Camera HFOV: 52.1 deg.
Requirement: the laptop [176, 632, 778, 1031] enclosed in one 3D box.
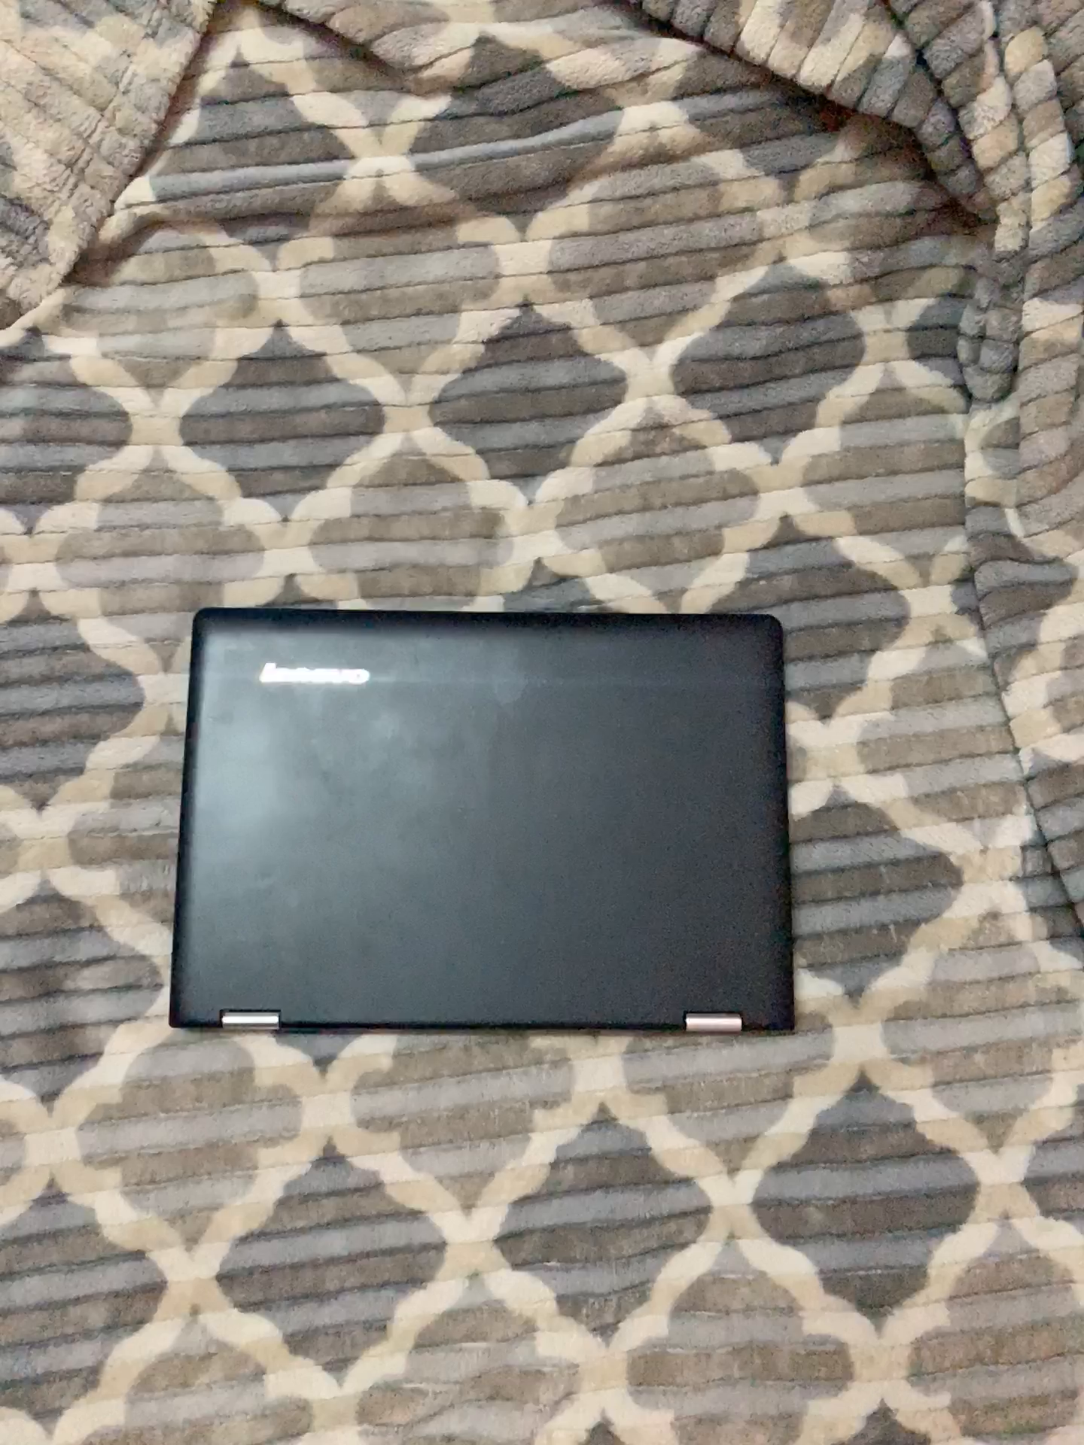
[{"bbox_3d":[-0.033,0.061,0.643,0.338,0.003,0.228,1,81,-1],"label":"laptop"}]
